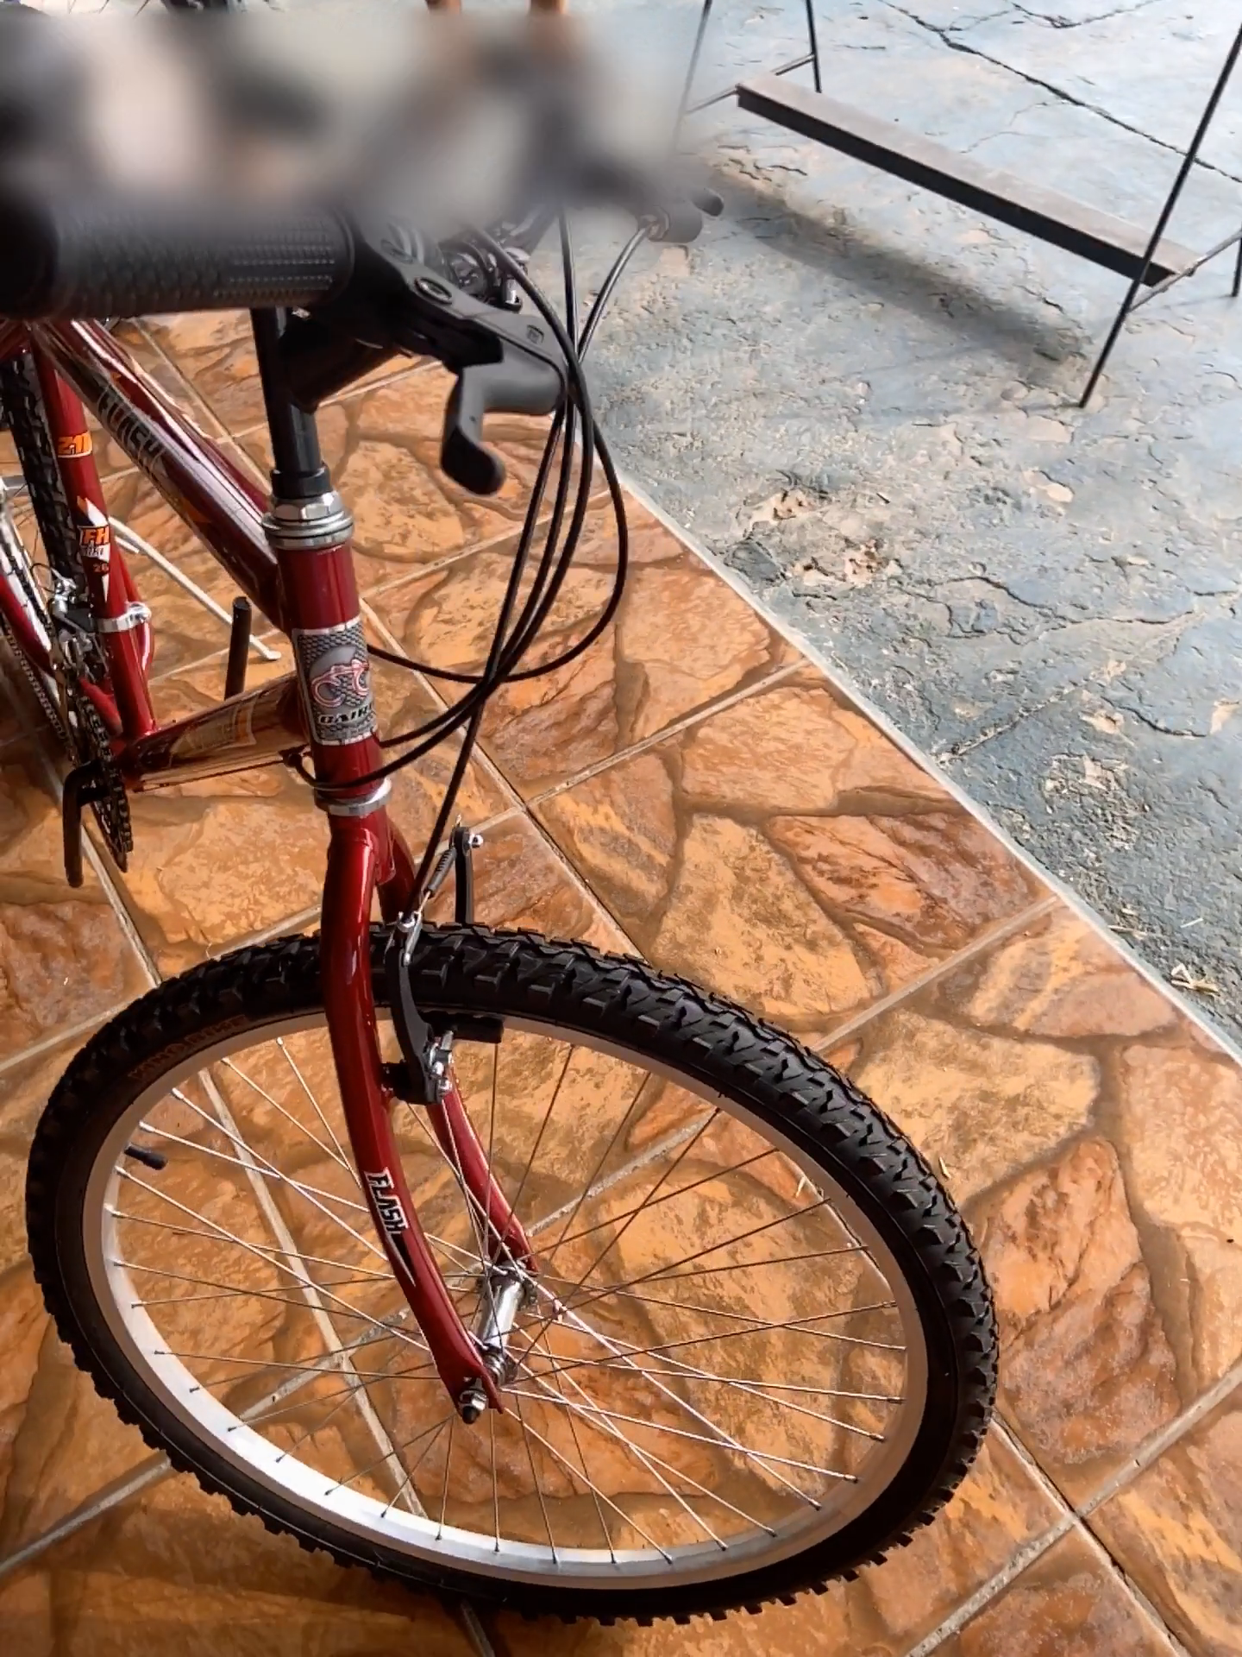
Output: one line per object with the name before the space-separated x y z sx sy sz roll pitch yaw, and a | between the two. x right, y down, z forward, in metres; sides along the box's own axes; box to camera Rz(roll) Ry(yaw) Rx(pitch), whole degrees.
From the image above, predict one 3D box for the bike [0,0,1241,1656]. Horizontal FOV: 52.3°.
bike | -0.244 -0.219 1.060 0.600 0.986 1.560 -34 60 -22
